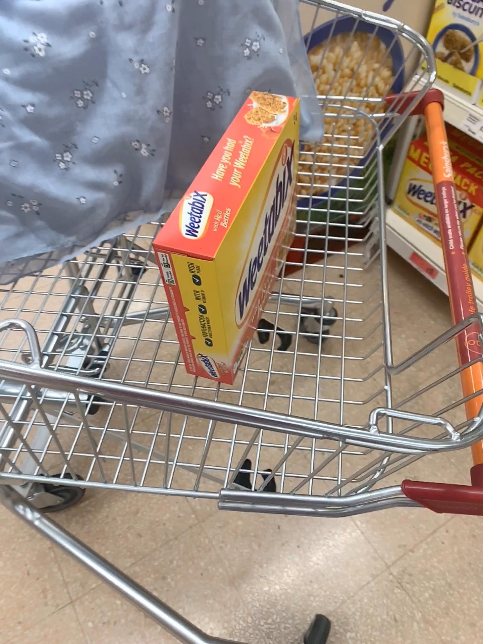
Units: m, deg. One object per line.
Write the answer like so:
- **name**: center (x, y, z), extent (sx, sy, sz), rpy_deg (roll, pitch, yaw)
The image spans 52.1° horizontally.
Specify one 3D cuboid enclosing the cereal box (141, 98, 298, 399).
- **cereal box**: center (-0.005, -0.083, 0.529), extent (0.060, 0.188, 0.262), rpy_deg (12, 51, 14)
